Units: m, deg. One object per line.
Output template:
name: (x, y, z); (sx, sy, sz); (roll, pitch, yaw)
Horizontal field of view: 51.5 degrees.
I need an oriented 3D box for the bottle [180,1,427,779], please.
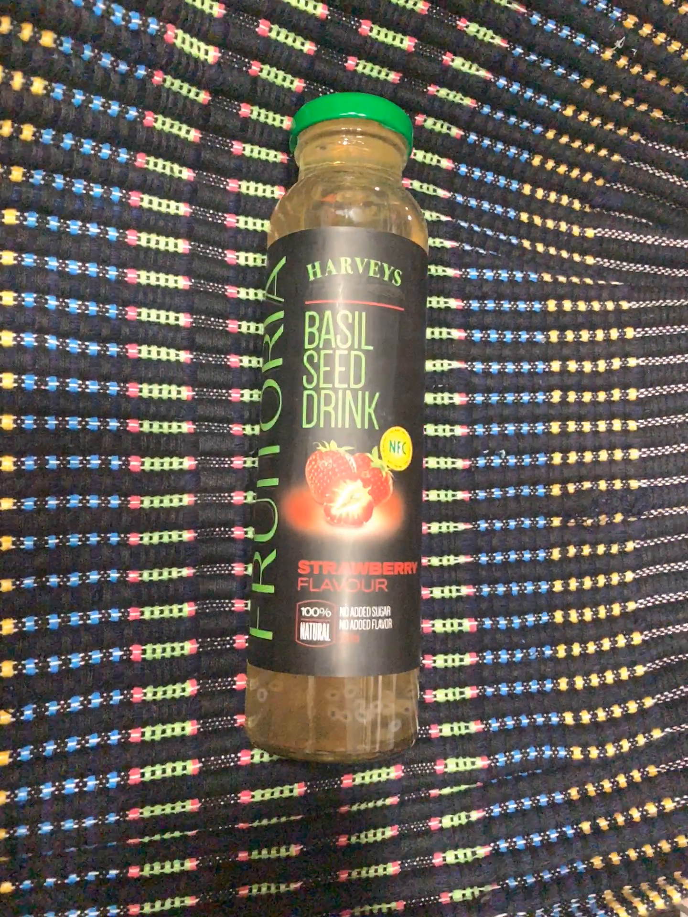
bottle: (-0.006, -0.023, 0.231); (0.060, 0.060, 0.220); (0, 81, 12)
